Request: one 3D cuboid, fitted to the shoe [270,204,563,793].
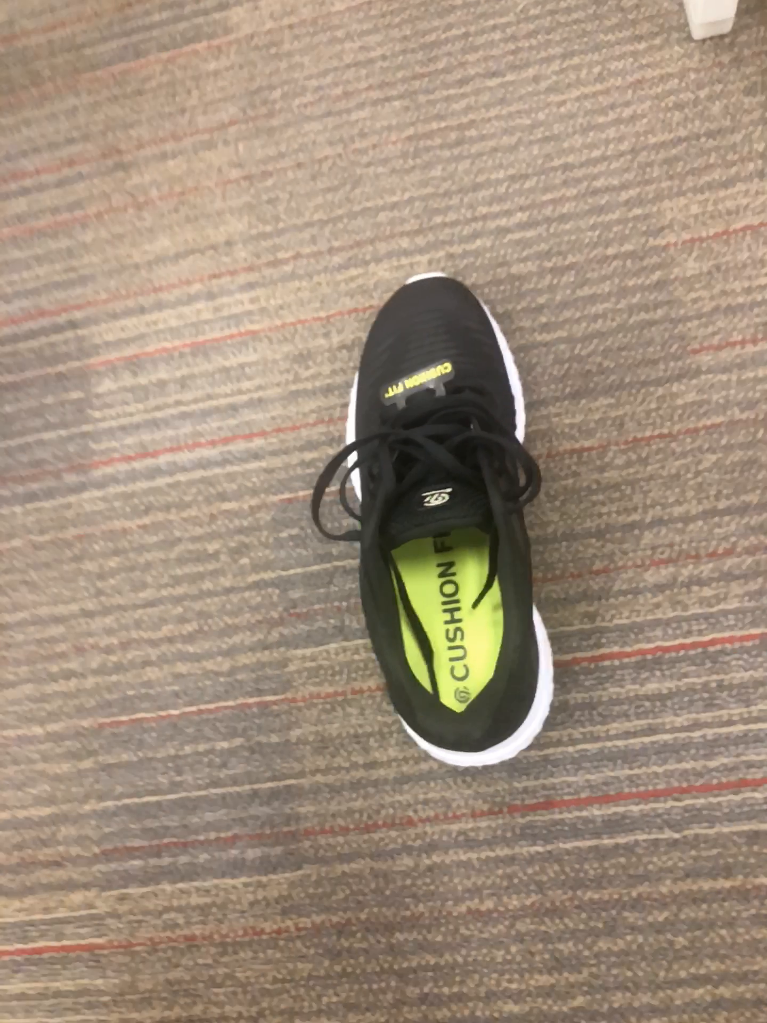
[{"bbox_3d":[0.018,-0.004,0.470,0.120,0.100,0.290,-8,74,10],"label":"shoe"}]
